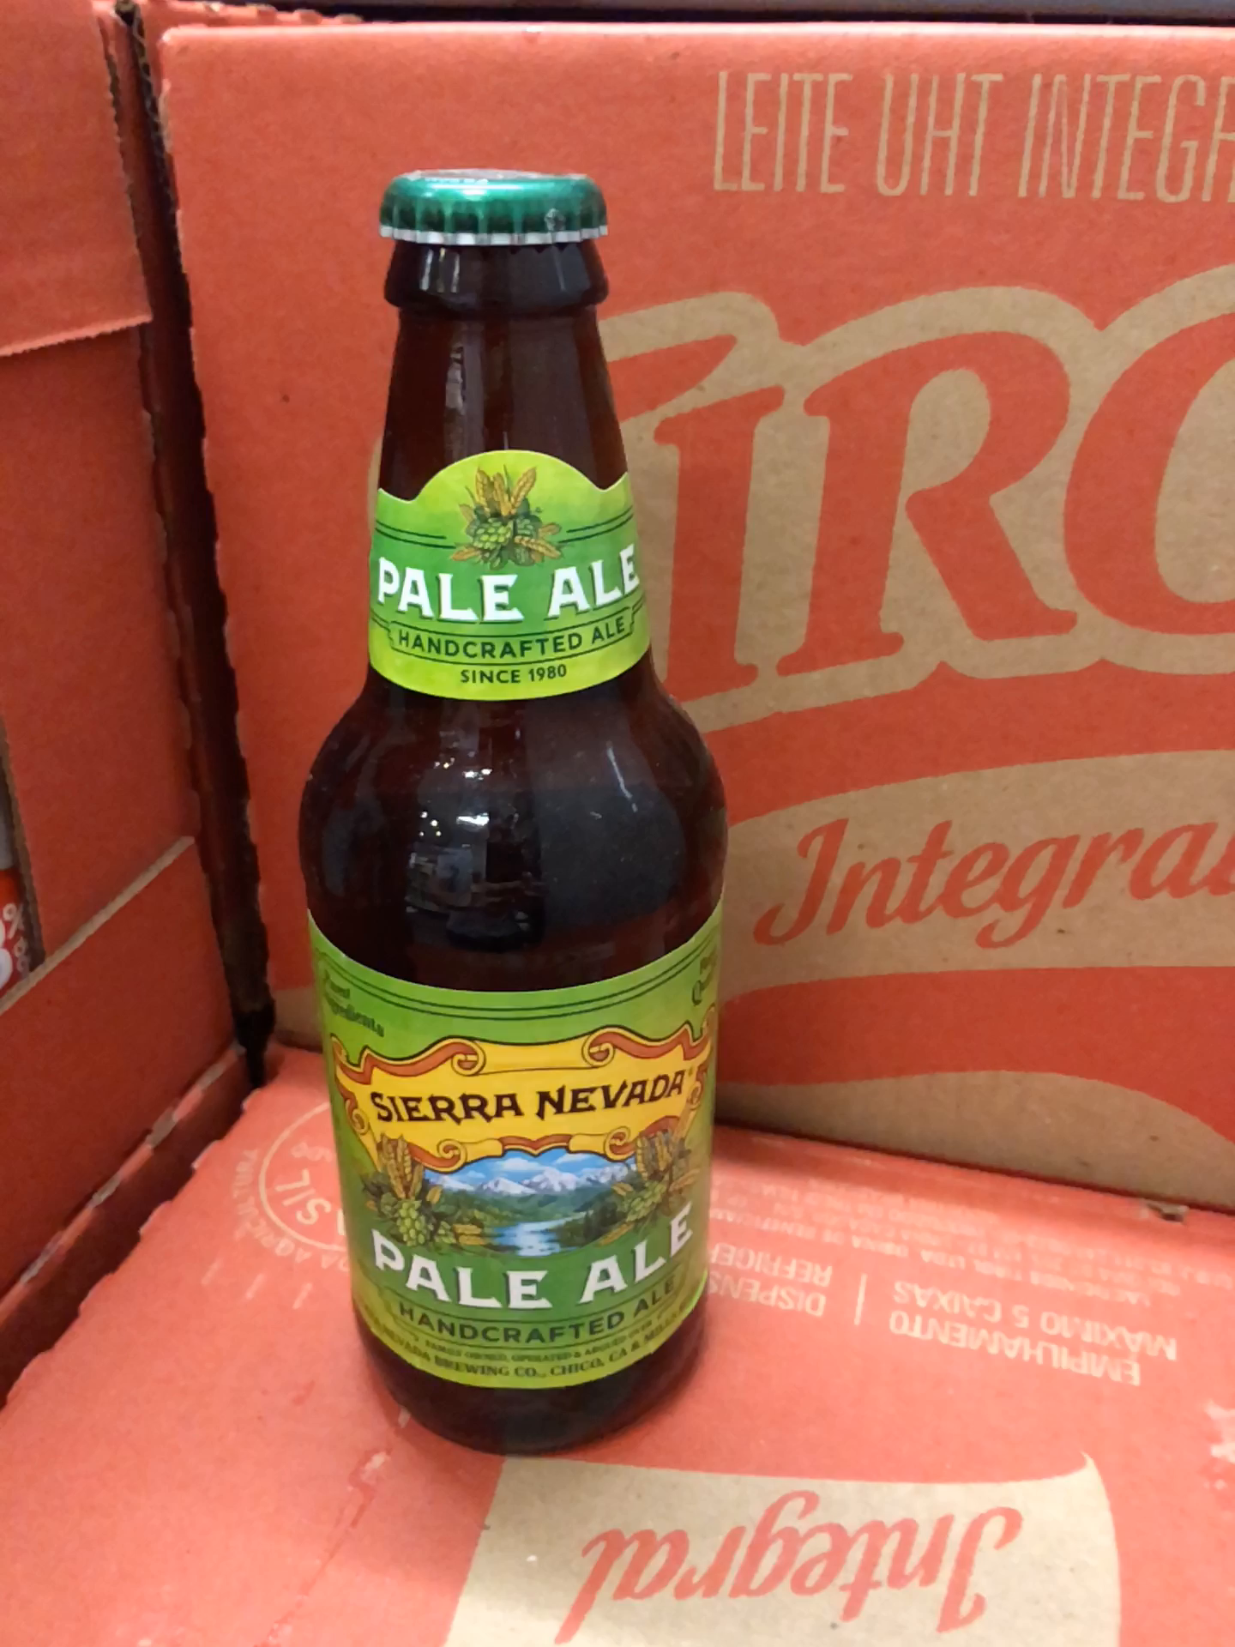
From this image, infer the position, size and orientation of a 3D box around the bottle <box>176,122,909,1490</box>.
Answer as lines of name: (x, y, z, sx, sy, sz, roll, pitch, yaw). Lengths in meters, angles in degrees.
bottle: (-0.010, 0.005, 0.201, 0.070, 0.189, 0.060, 2, 26, -1)
